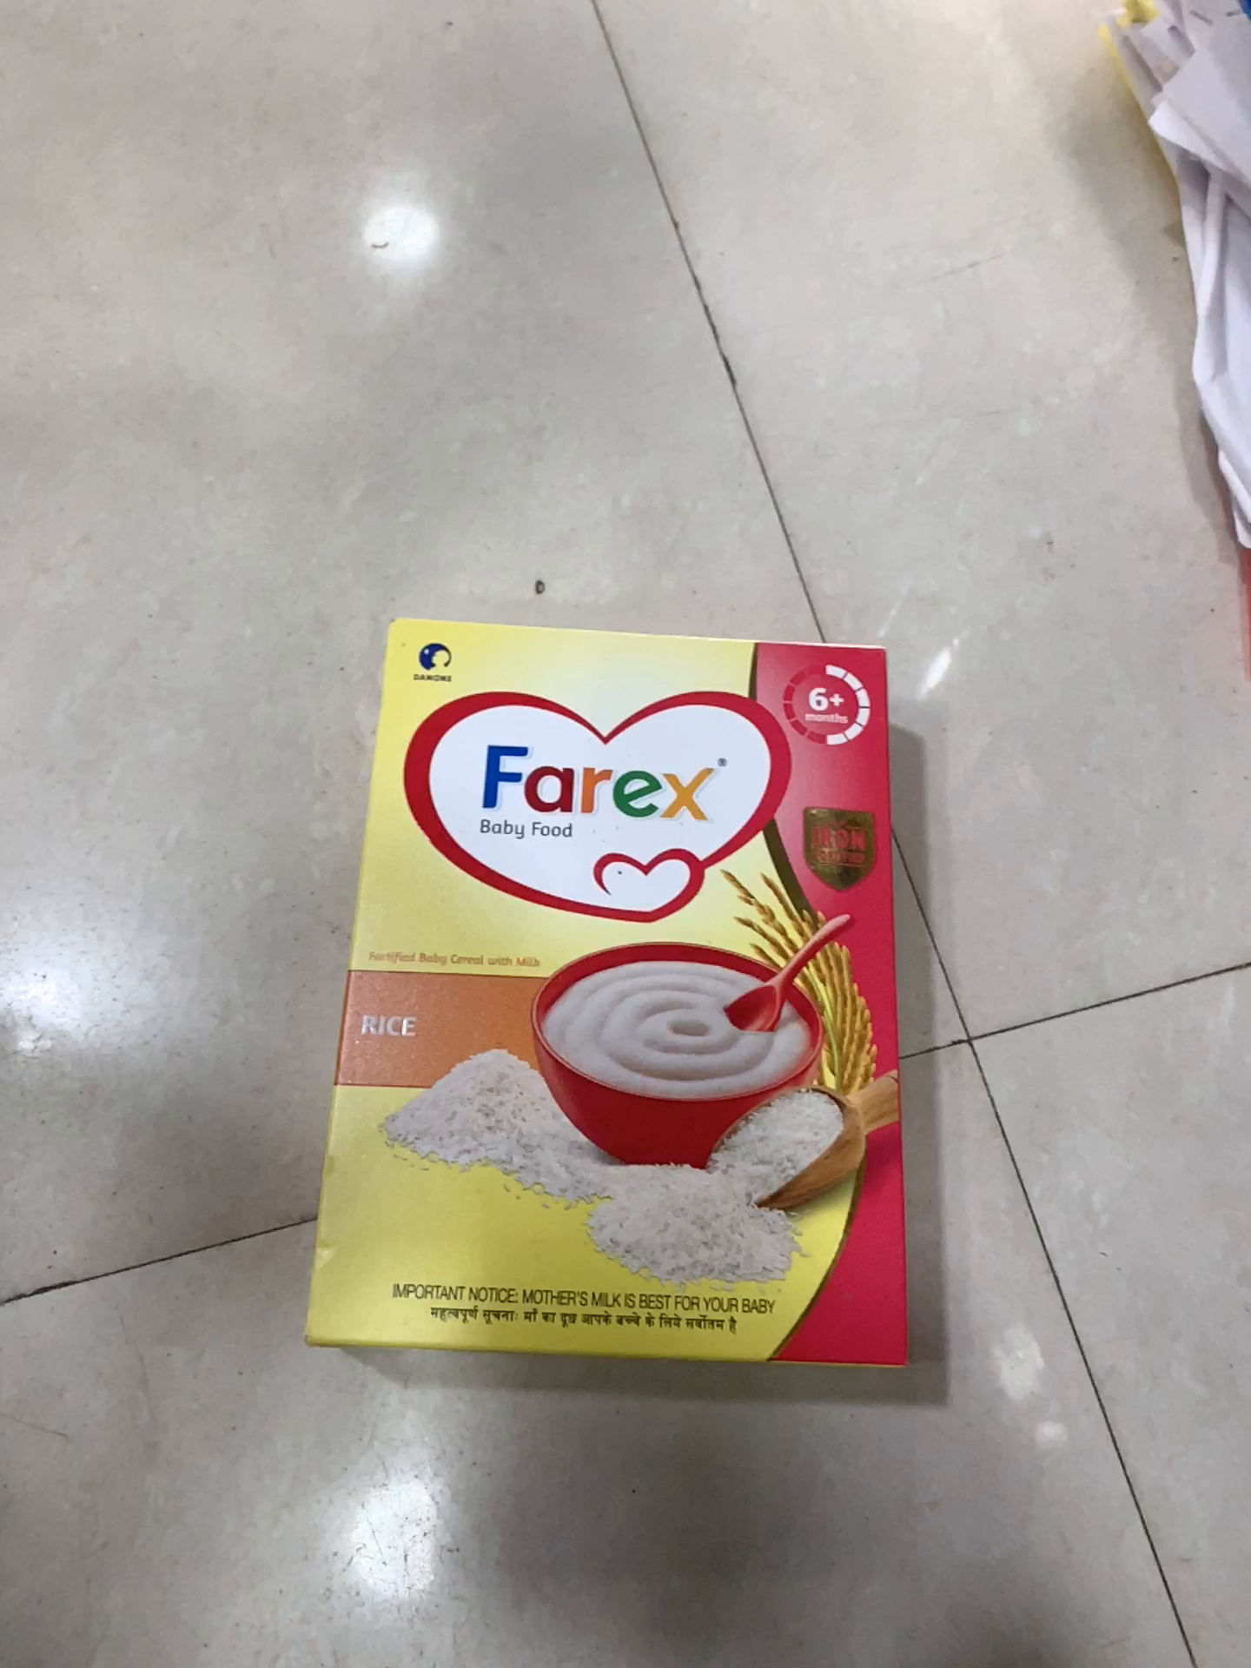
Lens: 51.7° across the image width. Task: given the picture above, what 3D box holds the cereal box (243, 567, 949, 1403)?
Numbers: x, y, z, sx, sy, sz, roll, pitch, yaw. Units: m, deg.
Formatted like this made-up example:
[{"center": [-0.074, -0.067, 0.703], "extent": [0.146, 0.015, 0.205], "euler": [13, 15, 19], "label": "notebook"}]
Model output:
[{"center": [-0.003, 0.038, 0.358], "extent": [0.160, 0.060, 0.210], "euler": [3, 69, -2], "label": "cereal box"}]
